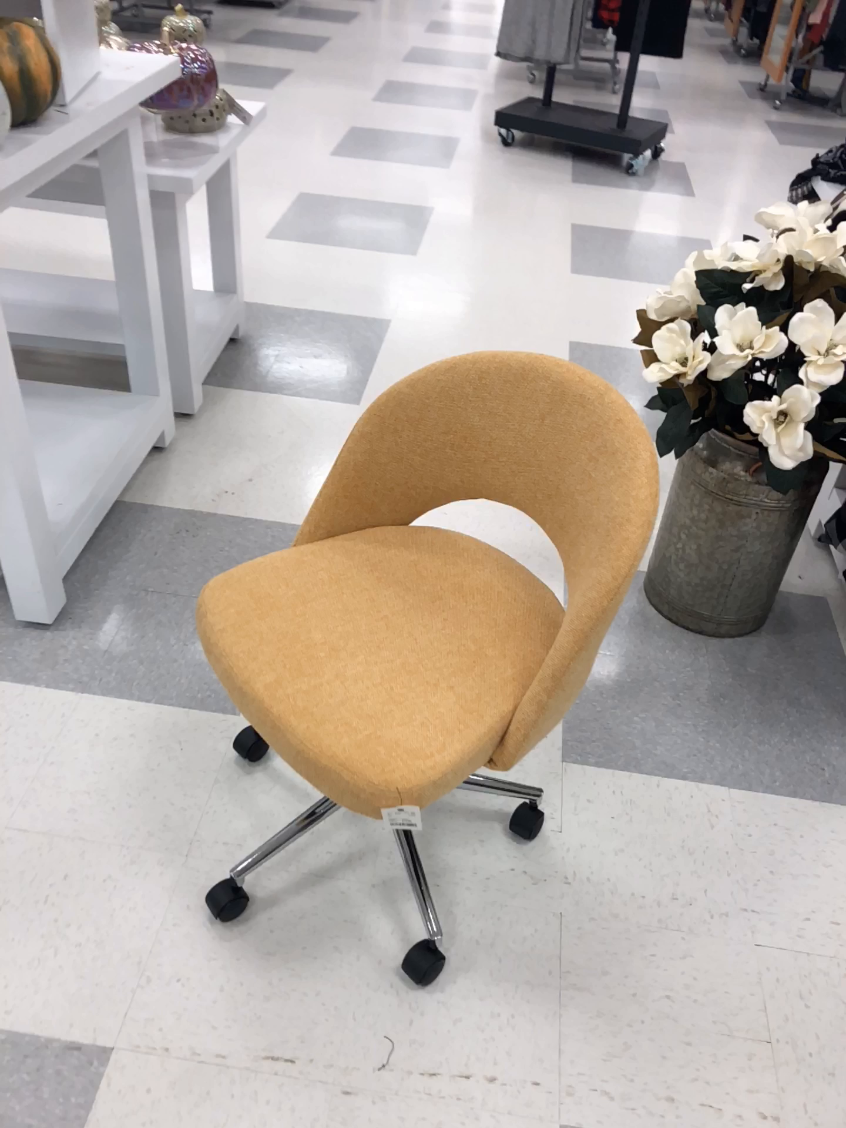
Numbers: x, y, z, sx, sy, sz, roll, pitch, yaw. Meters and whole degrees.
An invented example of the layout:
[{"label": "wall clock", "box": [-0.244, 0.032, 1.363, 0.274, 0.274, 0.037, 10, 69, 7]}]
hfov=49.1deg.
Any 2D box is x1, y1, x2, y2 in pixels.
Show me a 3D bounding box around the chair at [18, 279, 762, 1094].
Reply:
[{"label": "chair", "box": [-0.063, 0.124, 1.298, 0.636, 0.749, 0.583, -25, 47, -33]}]
